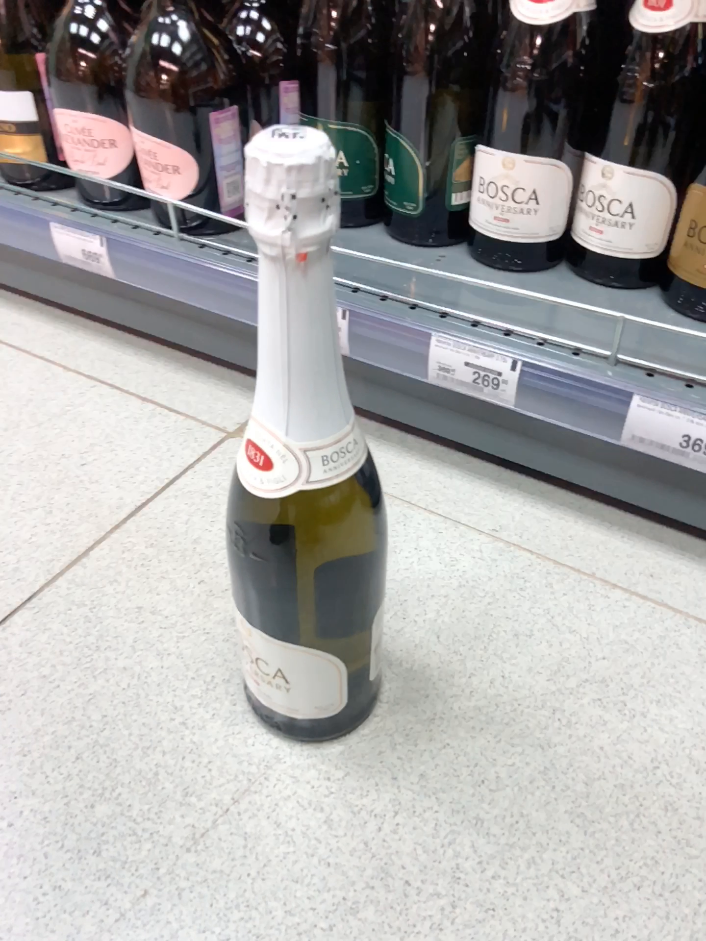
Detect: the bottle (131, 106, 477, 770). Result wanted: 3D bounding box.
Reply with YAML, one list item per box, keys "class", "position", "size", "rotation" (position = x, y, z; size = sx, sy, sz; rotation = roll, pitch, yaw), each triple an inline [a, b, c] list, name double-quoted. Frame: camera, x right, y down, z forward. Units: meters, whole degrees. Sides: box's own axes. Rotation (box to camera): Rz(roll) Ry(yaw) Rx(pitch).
- class: "bottle"
  position: [-0.021, 0.004, 0.378]
  size: [0.090, 0.308, 0.090]
  rotation: [0, 39, 0]
